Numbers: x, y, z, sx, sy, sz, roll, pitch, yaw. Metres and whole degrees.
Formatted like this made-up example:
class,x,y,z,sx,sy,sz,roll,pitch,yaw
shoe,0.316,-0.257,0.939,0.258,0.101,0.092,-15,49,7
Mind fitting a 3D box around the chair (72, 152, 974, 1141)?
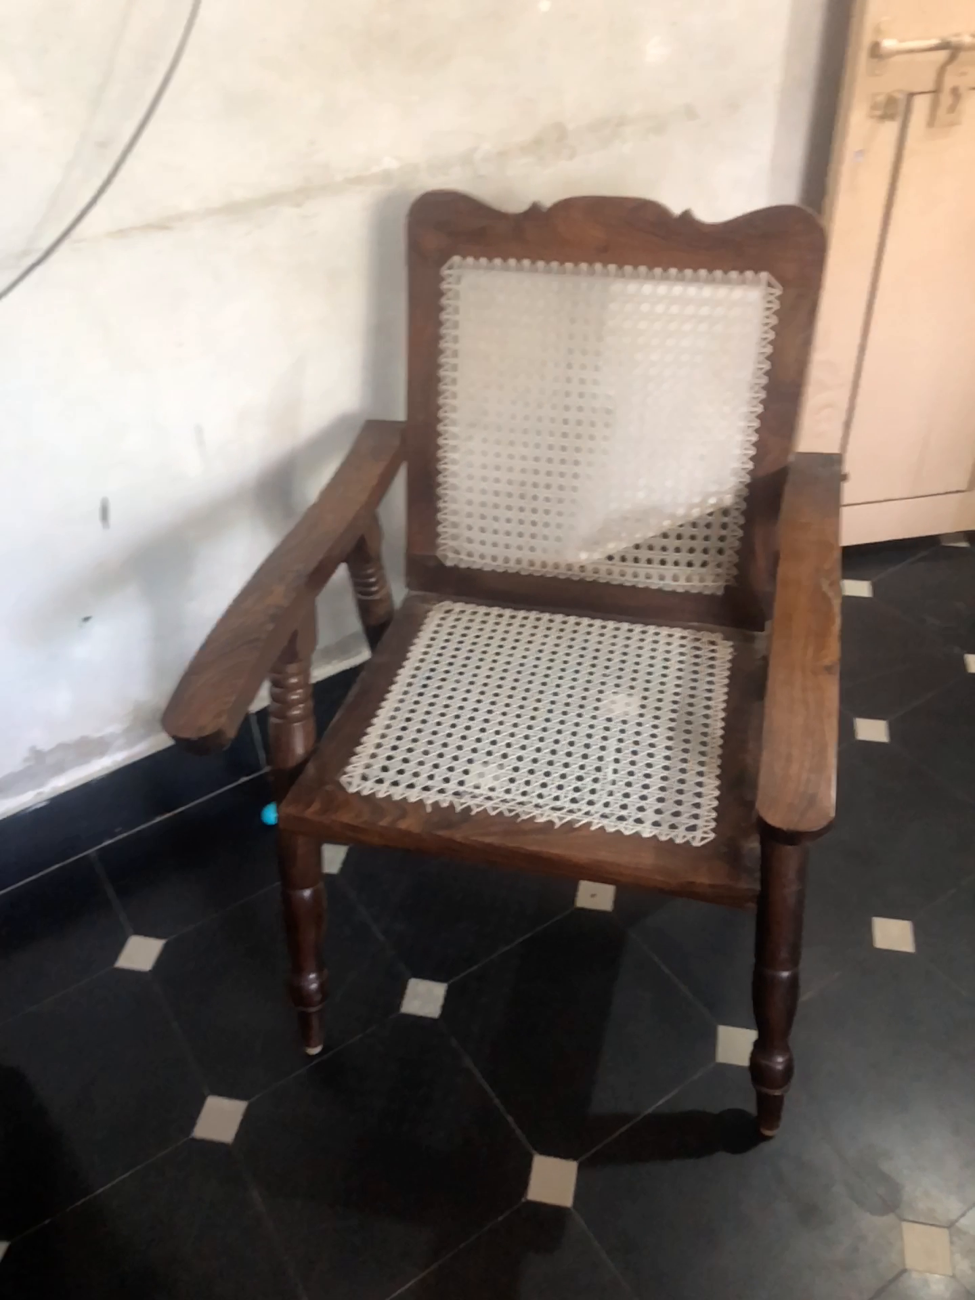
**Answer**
class,x,y,z,sx,sy,sz,roll,pitch,yaw
chair,0.087,-0.007,1.108,0.580,0.796,0.563,6,41,10
